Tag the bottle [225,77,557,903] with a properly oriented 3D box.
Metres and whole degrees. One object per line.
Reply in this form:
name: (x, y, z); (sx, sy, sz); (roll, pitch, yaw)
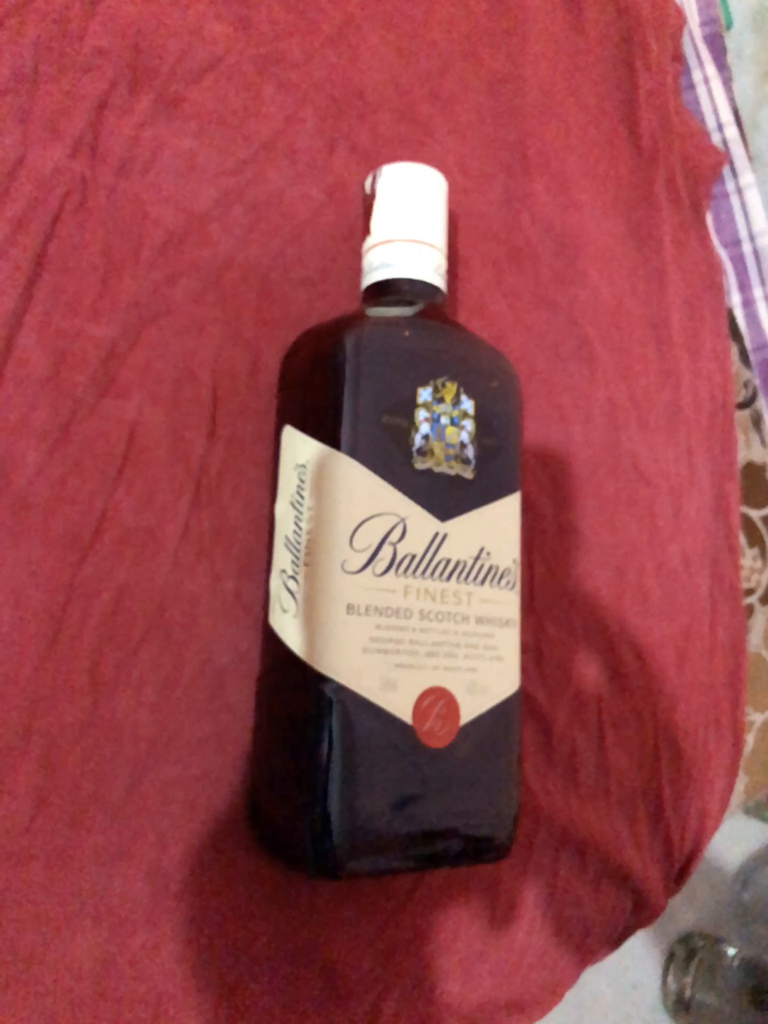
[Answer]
bottle: (0.007, -0.007, 0.303); (0.090, 0.050, 0.250); (10, 79, -35)
